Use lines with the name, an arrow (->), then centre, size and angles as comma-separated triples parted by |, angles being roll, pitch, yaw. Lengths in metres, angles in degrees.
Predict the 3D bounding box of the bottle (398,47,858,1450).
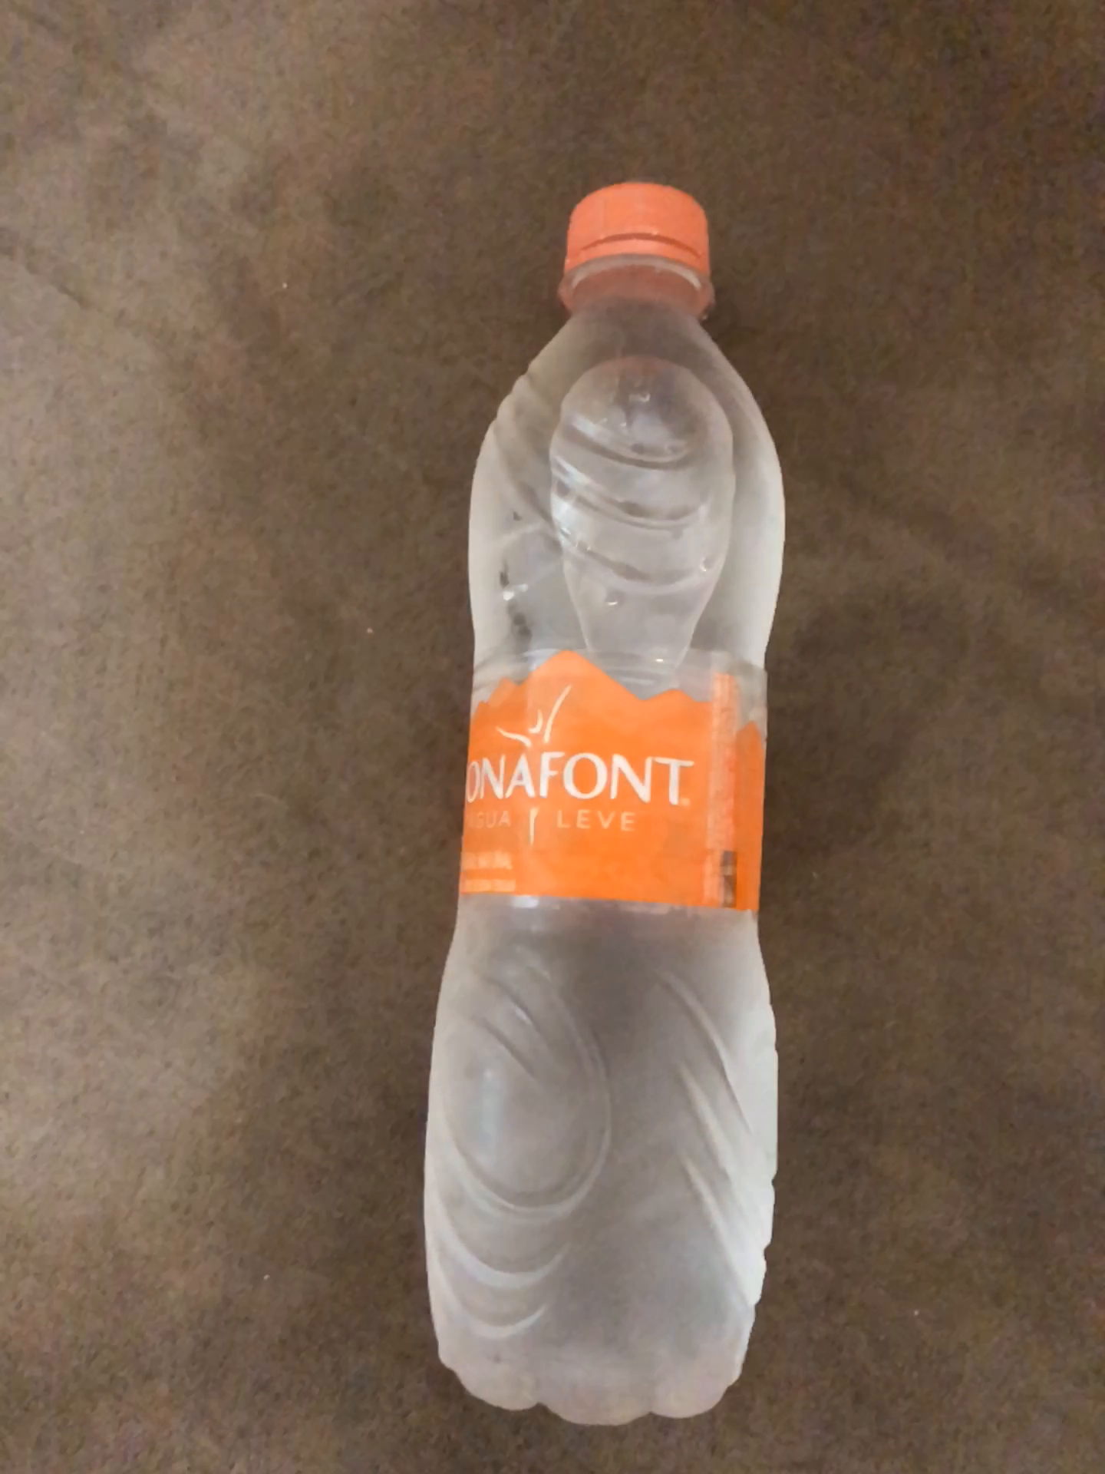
bottle -> 0.014, -0.003, 0.238 | 0.070, 0.050, 0.240 | 4, 82, -5
